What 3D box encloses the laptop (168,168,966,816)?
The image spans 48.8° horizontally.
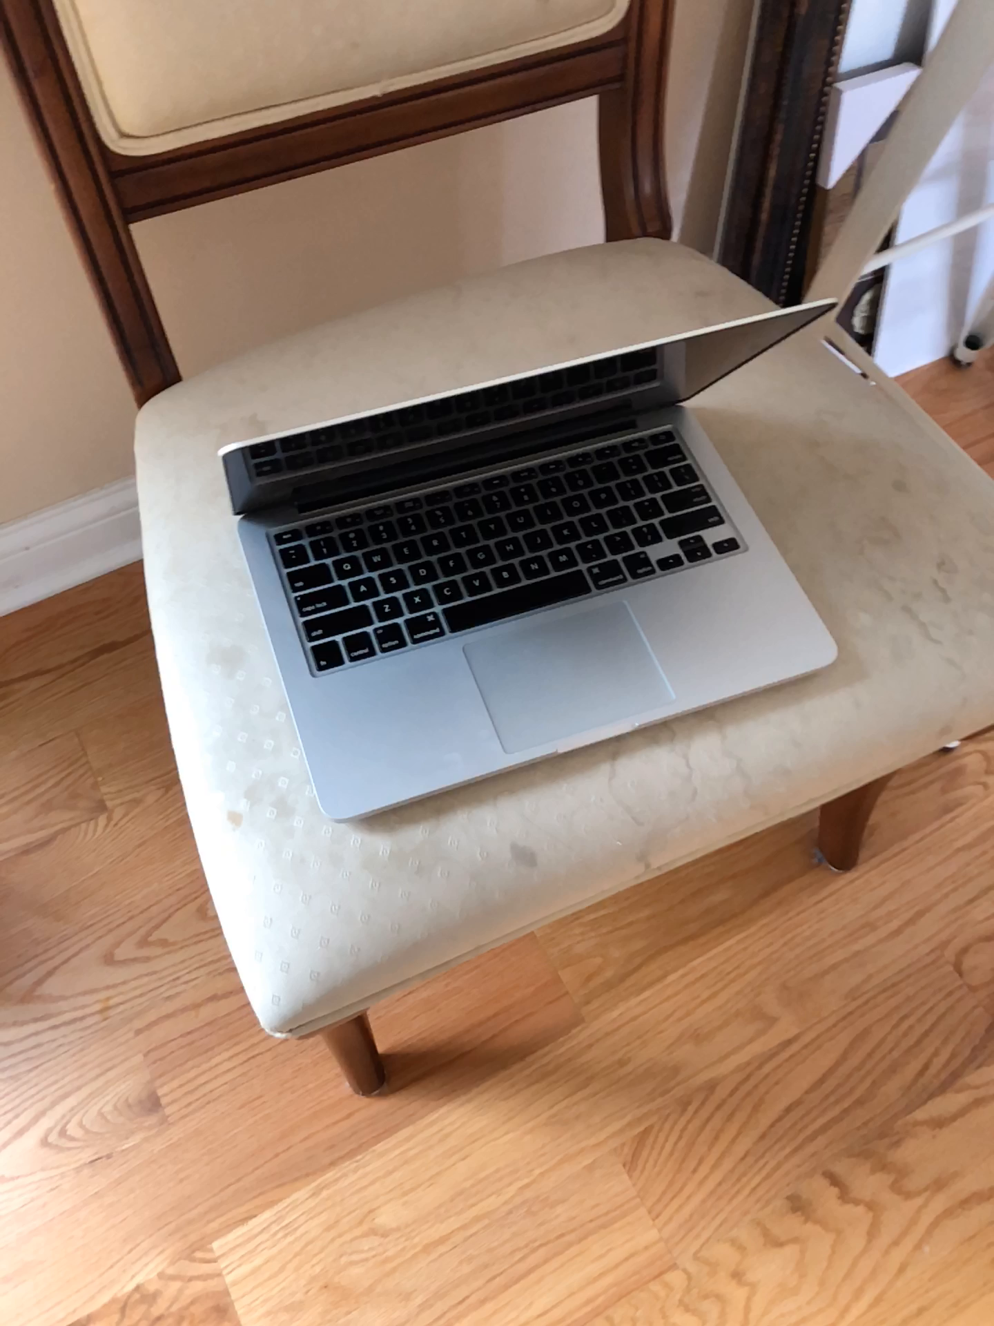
[{"bbox_3d":[0.021,-0.094,0.588,0.309,0.183,0.219,-17,60,-11],"label":"laptop"}]
